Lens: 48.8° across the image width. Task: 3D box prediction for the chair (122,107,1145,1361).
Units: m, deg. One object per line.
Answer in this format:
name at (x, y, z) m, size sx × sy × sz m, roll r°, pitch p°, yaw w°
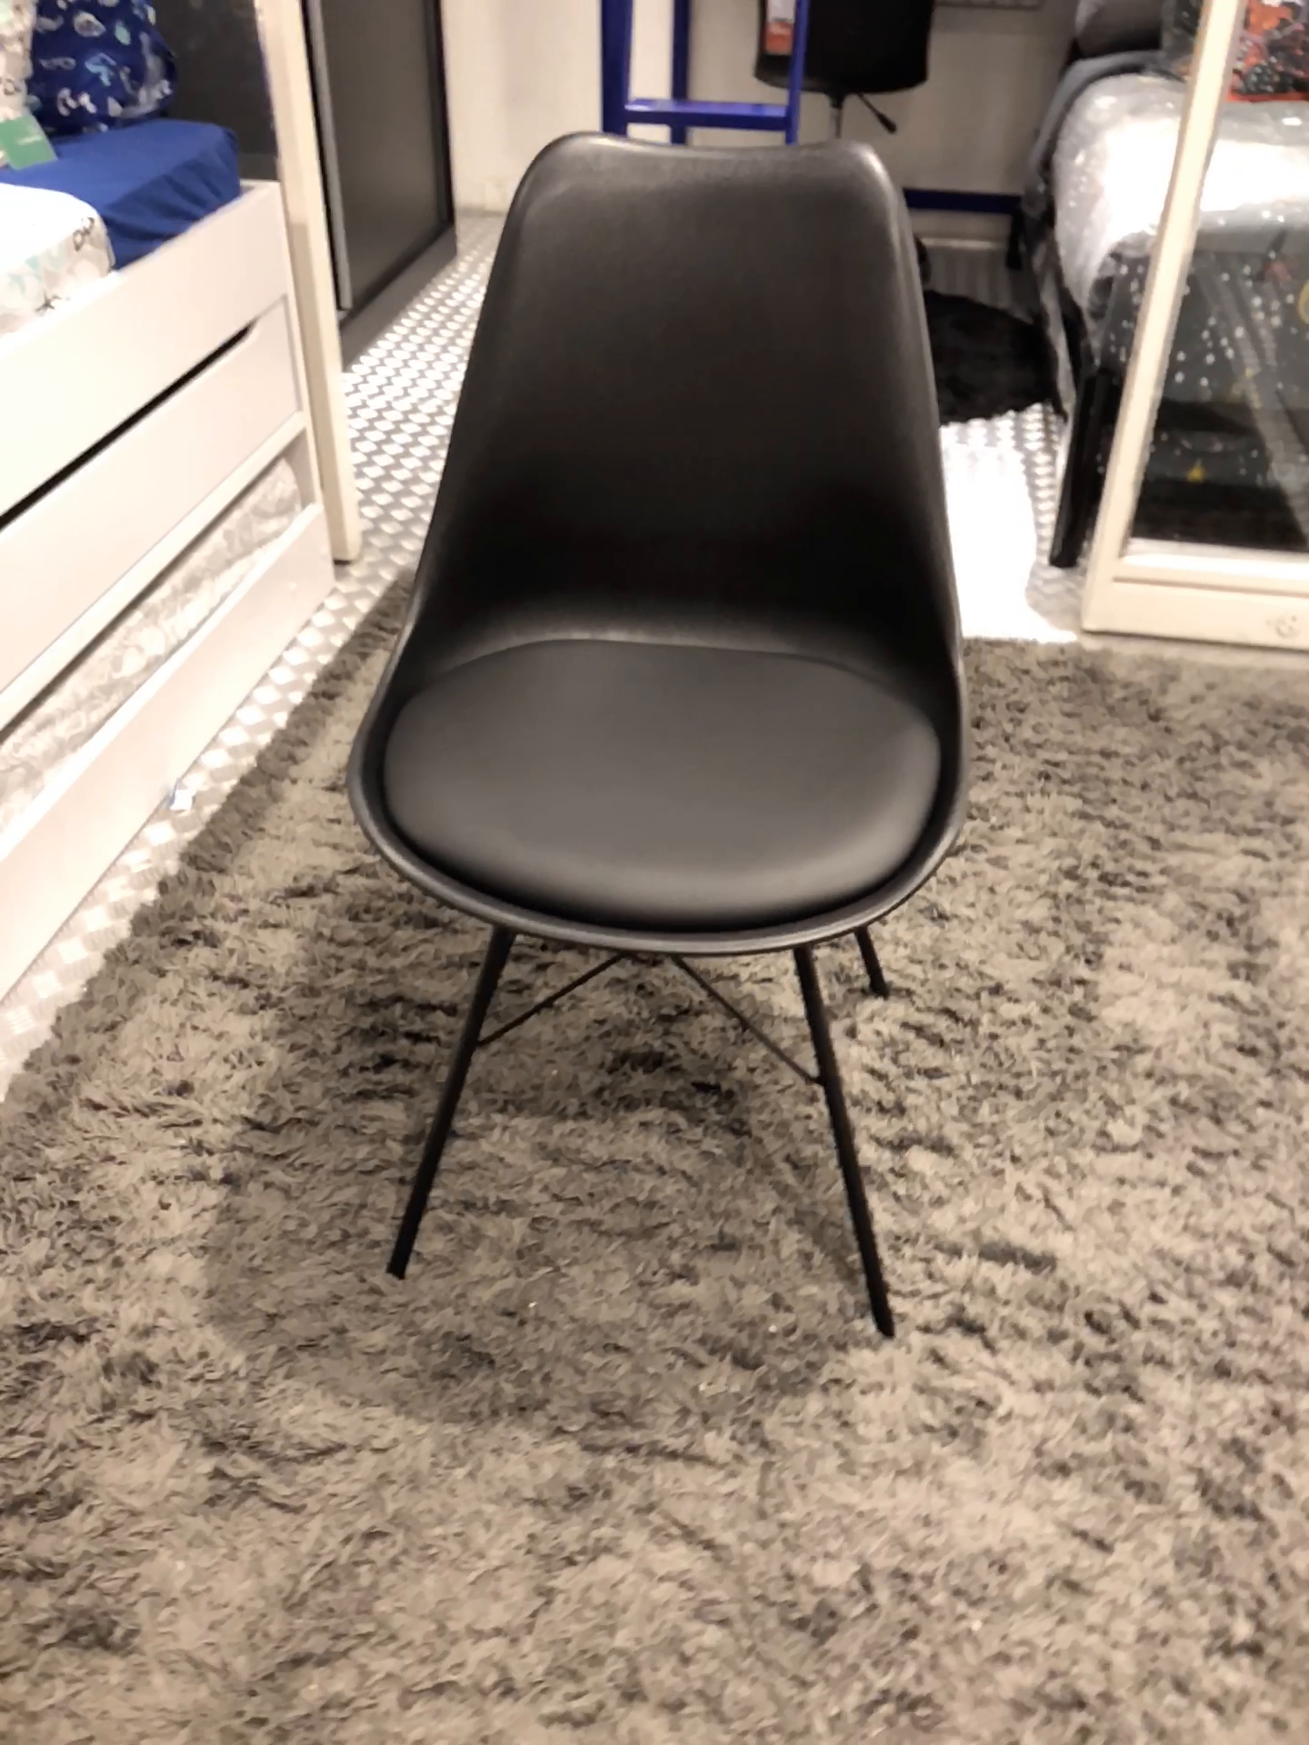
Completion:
chair at (0.017, -0.114, 1.173) m, size 0.520 × 0.803 × 0.534 m, roll 7°, pitch 37°, yaw 7°
